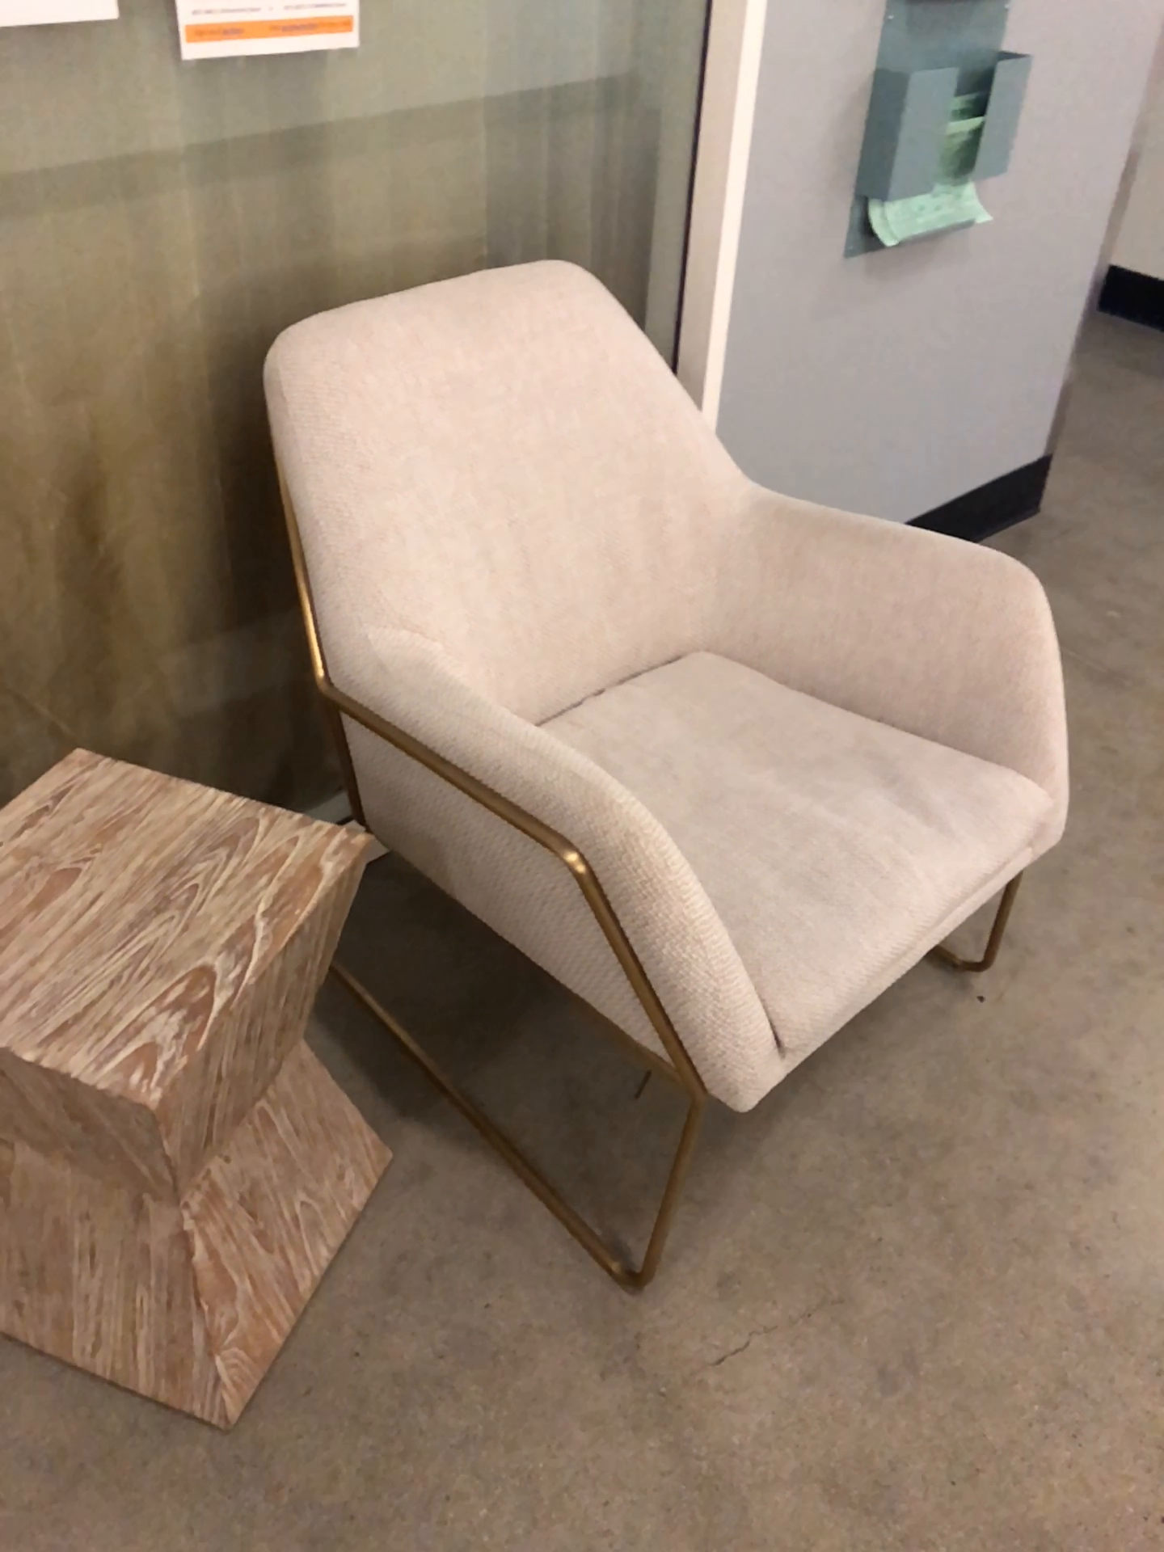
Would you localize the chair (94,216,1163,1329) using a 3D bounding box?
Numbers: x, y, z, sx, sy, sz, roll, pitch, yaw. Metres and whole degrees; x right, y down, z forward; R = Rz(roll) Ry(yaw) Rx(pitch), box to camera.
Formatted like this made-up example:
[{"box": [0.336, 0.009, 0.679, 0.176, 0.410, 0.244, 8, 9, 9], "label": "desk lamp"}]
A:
[{"box": [0.074, -0.116, 1.591, 0.832, 0.816, 0.892, -29, 47, -36], "label": "chair"}]
